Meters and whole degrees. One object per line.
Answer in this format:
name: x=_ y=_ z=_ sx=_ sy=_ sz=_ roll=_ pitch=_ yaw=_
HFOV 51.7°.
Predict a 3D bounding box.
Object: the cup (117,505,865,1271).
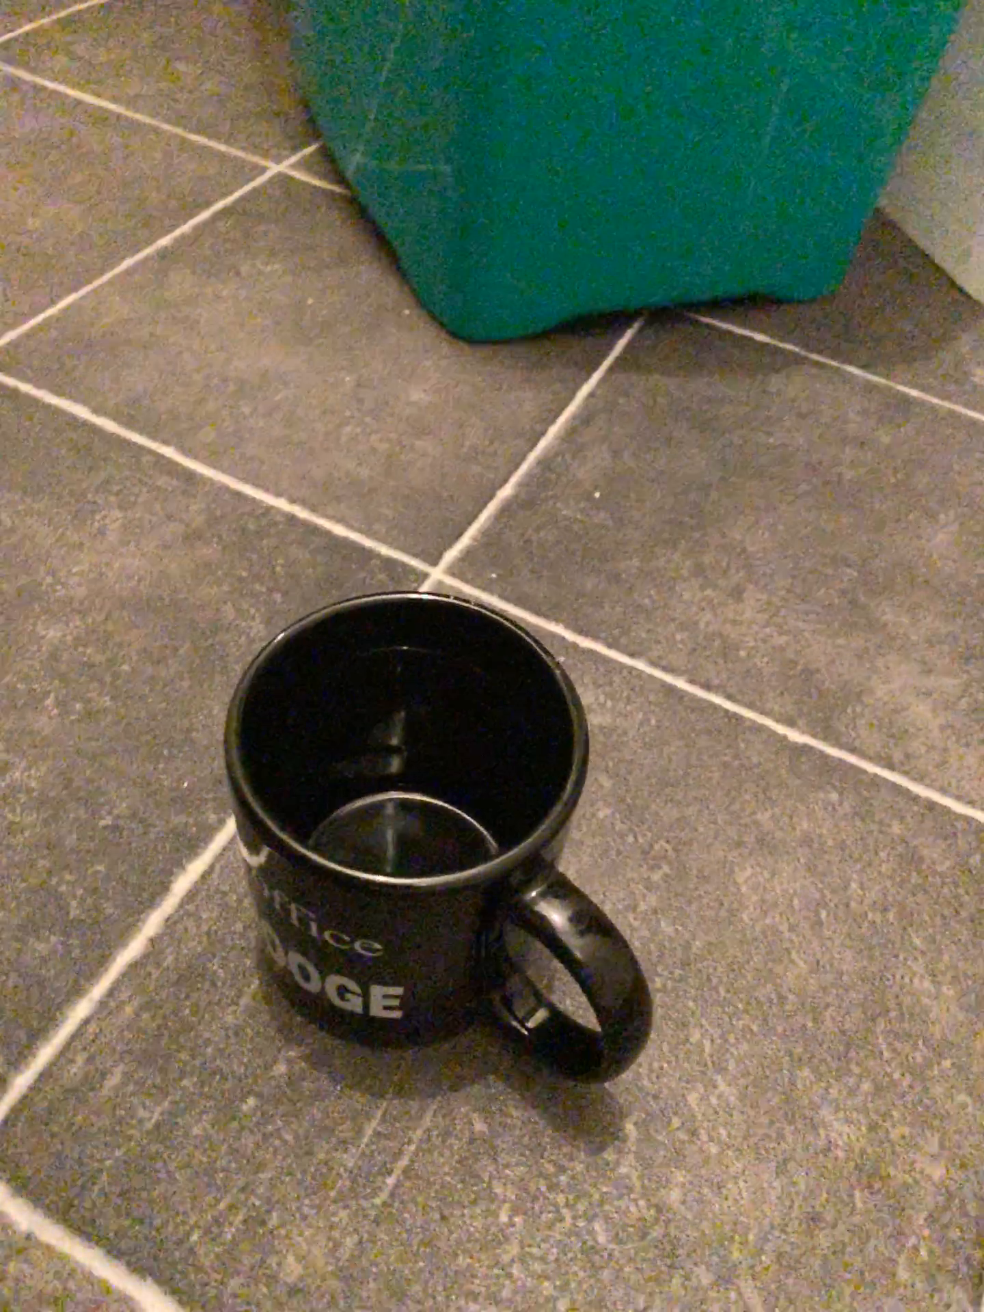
cup: x=-0.005 y=0.053 z=0.250 sx=0.130 sy=0.099 sz=0.091 roll=36 pitch=54 yaw=20
